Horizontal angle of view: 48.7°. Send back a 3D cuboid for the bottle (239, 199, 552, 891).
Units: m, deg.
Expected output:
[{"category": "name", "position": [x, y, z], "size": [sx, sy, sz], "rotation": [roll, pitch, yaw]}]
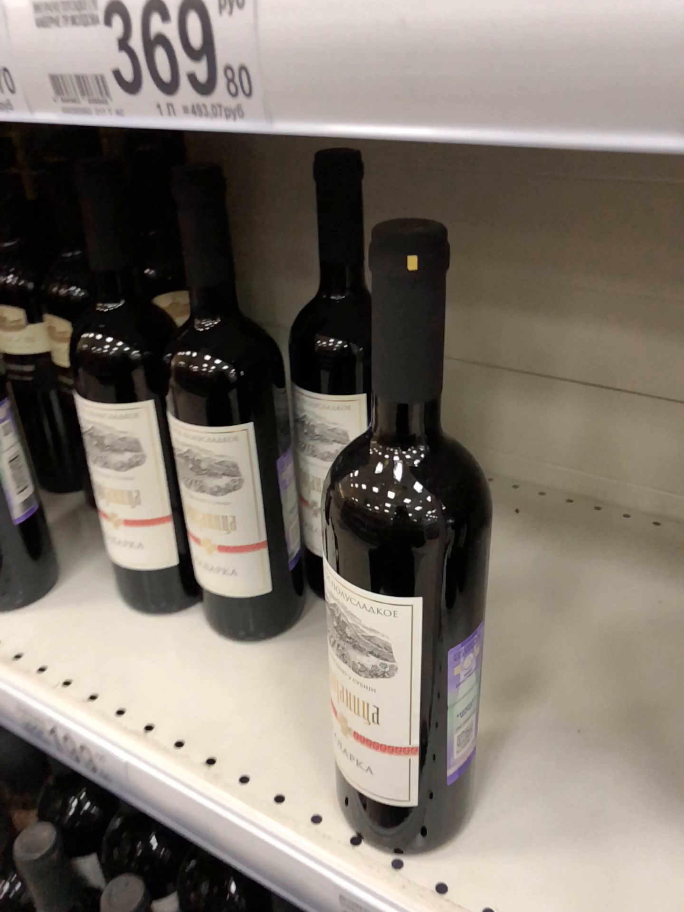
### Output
[{"category": "bottle", "position": [0.023, 0.053, 0.347], "size": [0.080, 0.308, 0.080], "rotation": [-2, 29, 1]}]
